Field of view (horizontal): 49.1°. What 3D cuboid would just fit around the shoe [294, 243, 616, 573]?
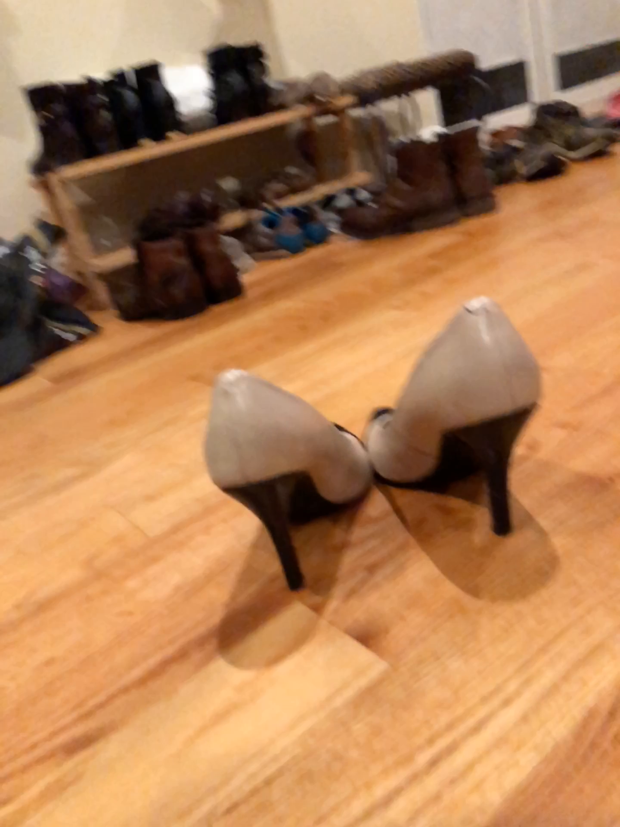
[{"bbox_3d":[0.079,-0.026,0.452,0.085,0.138,0.236,-20,22,-12],"label":"shoe"}]

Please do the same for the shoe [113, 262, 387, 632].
[{"bbox_3d":[-0.015,0.003,0.444,0.085,0.138,0.236,-9,22,16],"label":"shoe"}]
